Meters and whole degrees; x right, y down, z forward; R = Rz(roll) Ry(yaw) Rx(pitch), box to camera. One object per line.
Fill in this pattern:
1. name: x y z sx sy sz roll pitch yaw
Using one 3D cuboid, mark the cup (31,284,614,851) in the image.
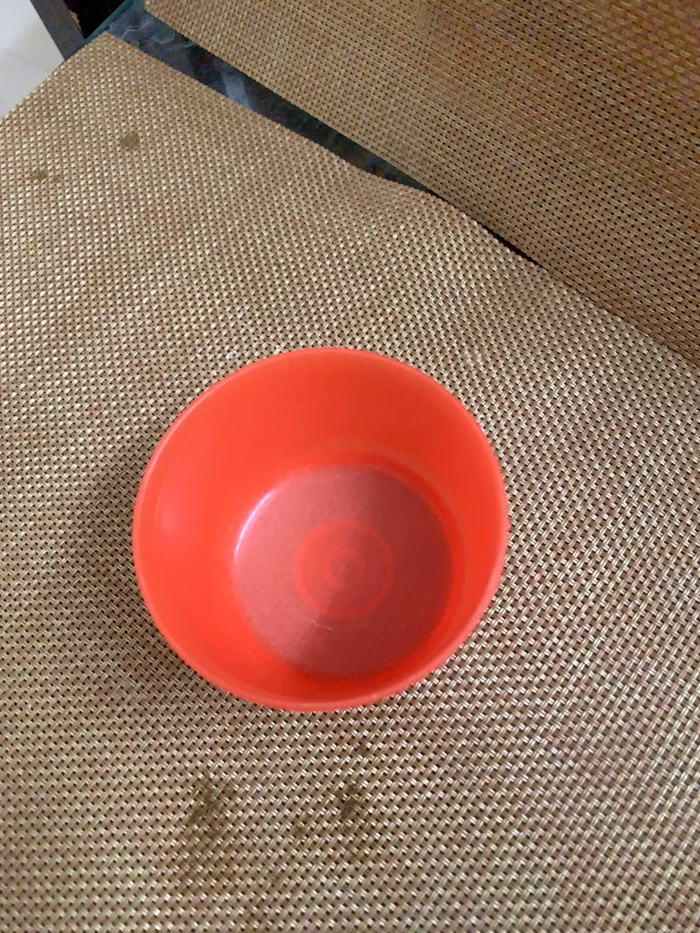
1. cup: -0.003 0.020 0.161 0.081 0.050 0.078 -2 68 5
